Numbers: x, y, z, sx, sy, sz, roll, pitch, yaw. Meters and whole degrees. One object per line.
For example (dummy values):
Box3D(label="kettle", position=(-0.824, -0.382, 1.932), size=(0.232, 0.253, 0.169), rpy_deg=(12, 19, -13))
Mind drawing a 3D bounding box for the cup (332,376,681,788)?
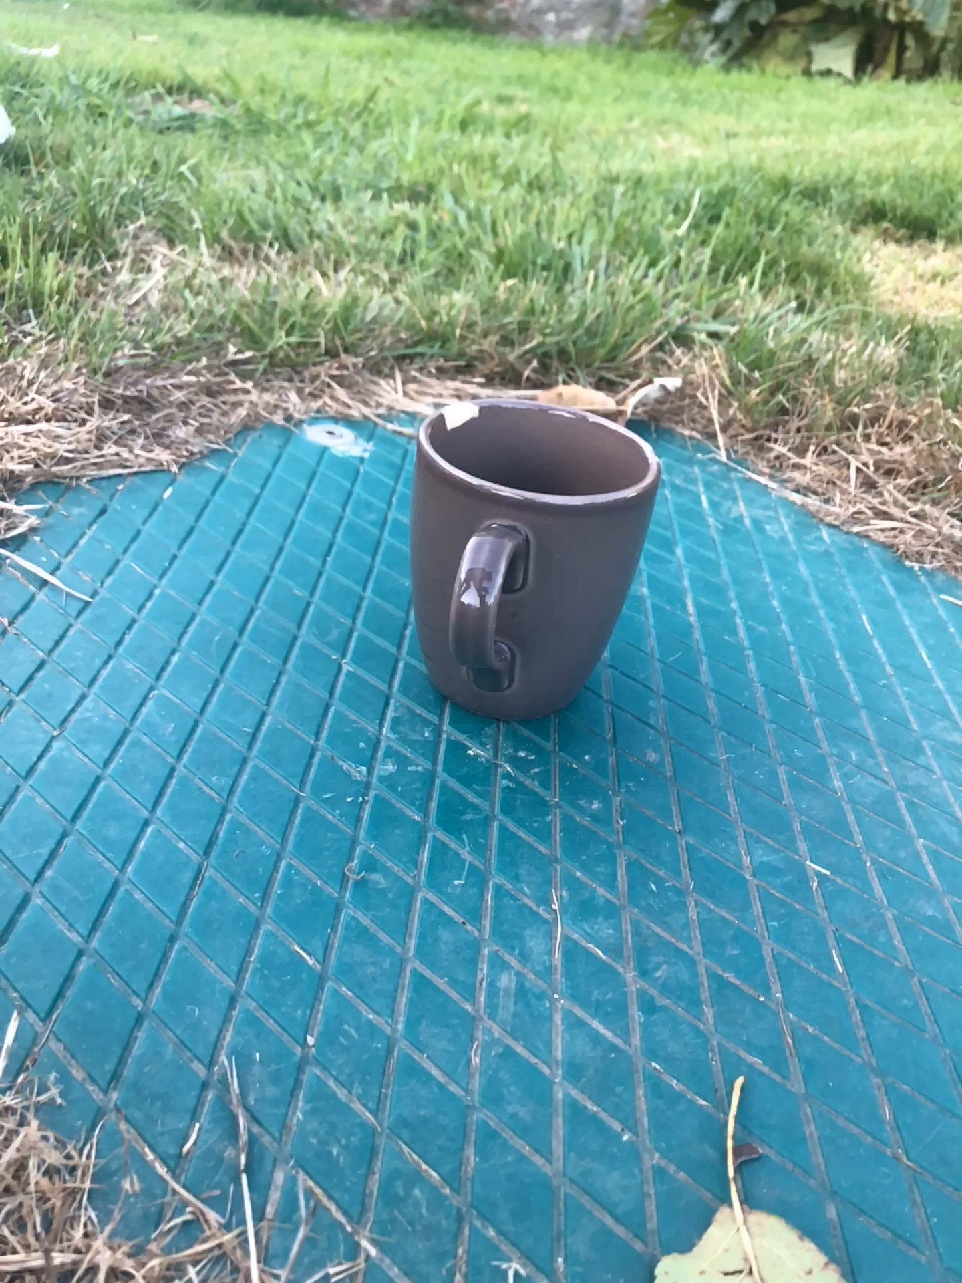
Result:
Box3D(label="cup", position=(0.014, -0.029, 0.381), size=(0.090, 0.086, 0.127), rpy_deg=(13, 30, 8))
